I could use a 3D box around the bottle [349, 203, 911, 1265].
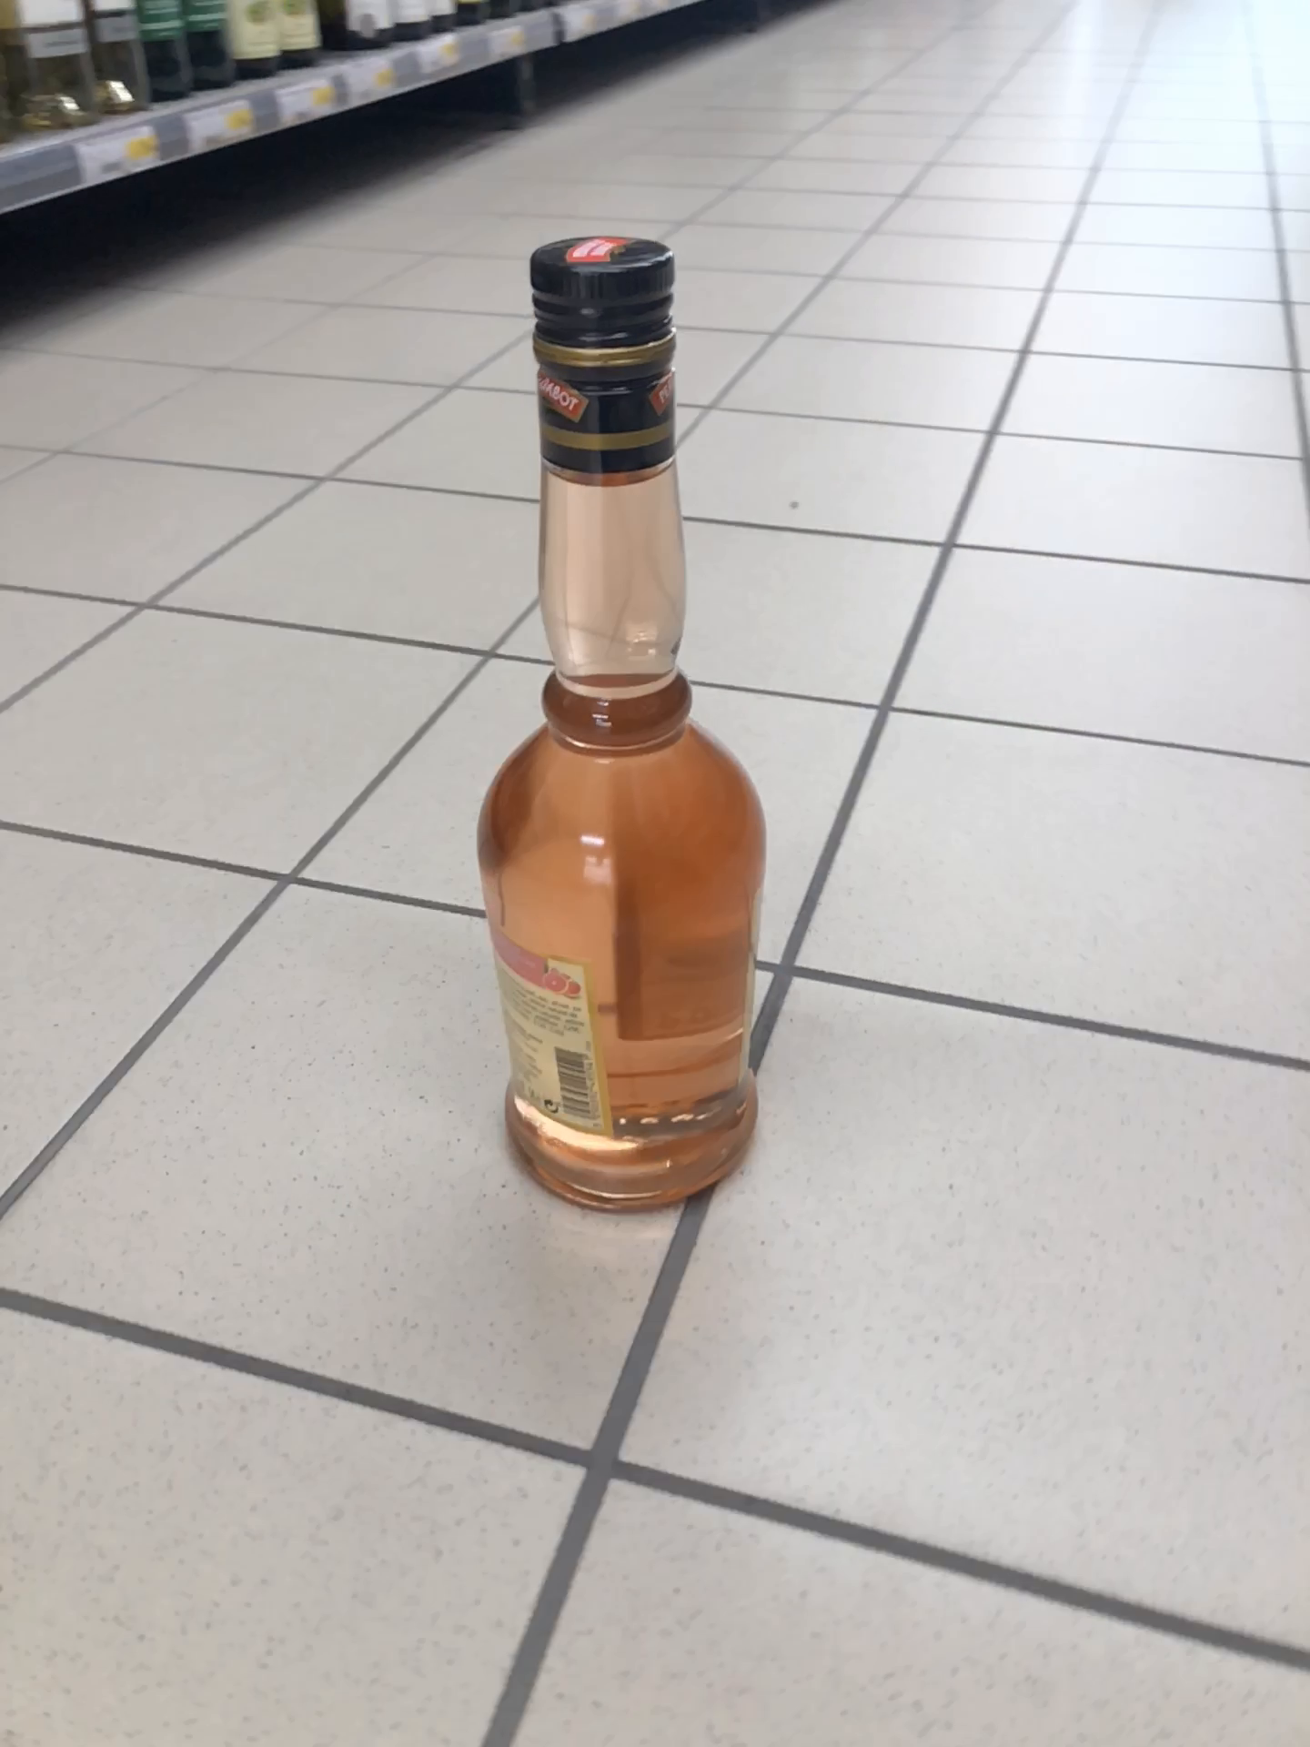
[{"bbox_3d":[-0.006,-0.029,0.366,0.080,0.239,0.090,-22,39,-28],"label":"bottle"}]
